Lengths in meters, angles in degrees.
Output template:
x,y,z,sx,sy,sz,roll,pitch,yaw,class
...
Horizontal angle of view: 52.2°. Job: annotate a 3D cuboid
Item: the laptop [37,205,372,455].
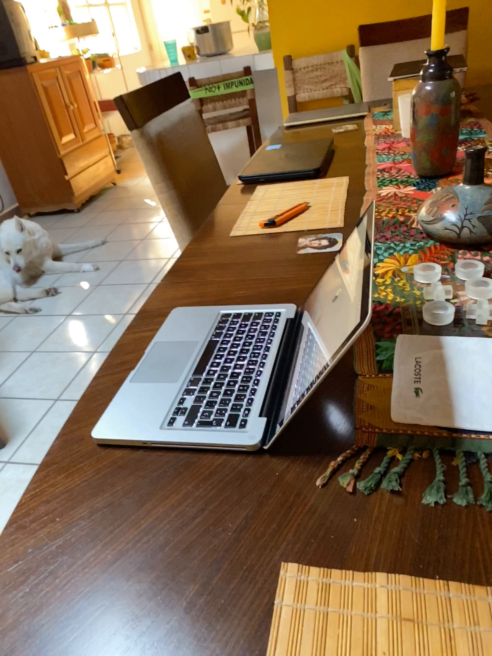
x,y,z,sx,sy,sz,roll,pitch,yaw,class
-0.015,-0.018,0.693,0.357,0.171,0.326,-1,32,16,laptop
